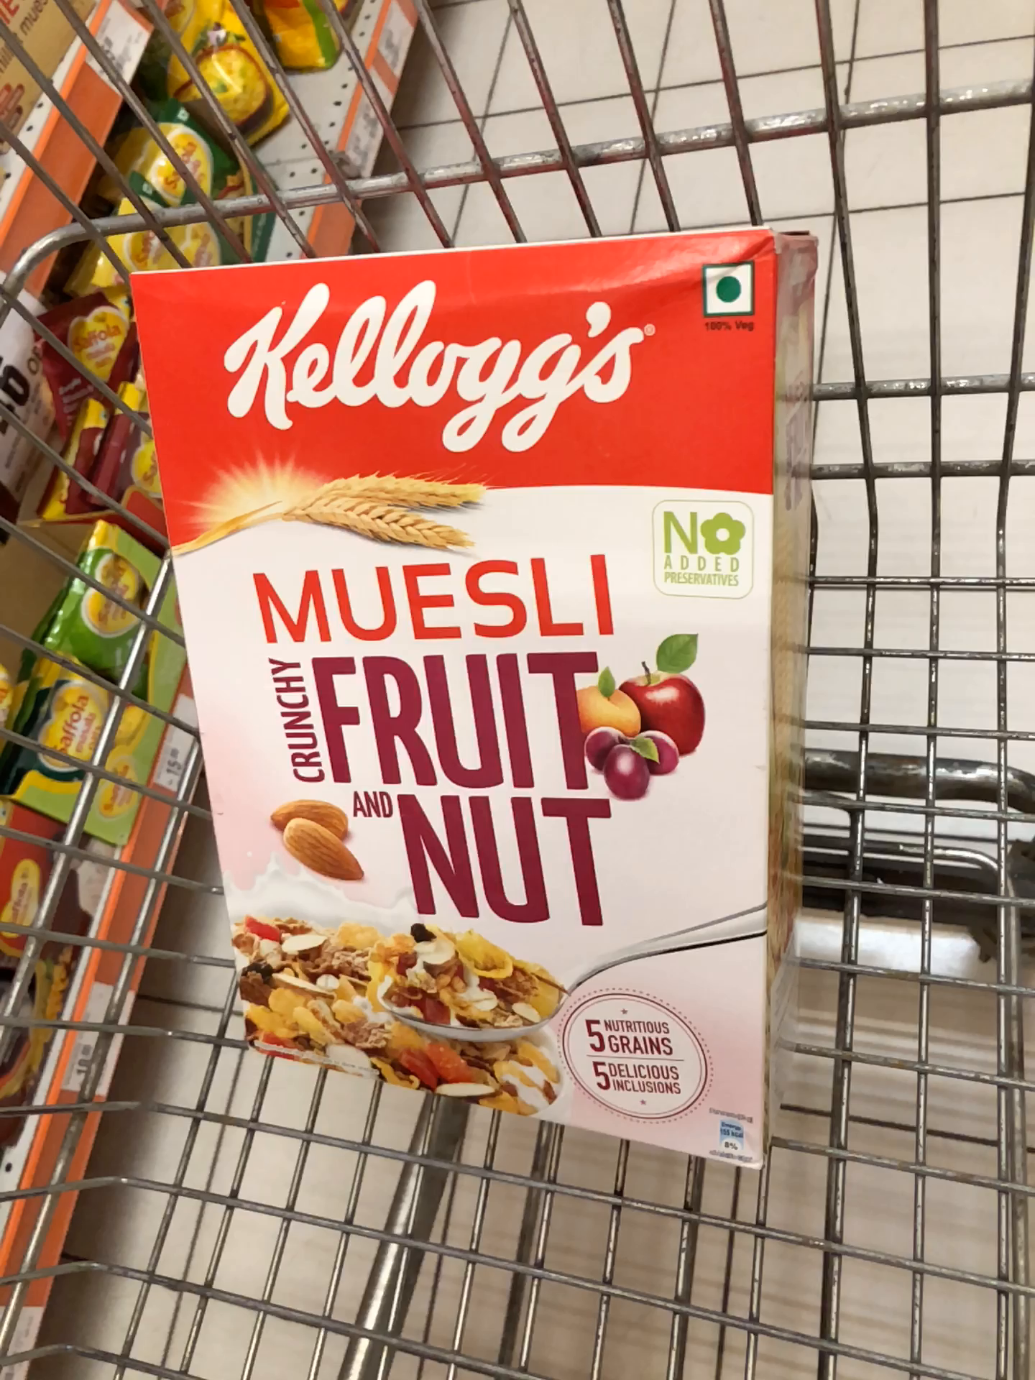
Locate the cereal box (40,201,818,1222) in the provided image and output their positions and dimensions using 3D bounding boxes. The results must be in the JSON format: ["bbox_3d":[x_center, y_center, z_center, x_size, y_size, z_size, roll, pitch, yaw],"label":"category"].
[{"bbox_3d":[-0.017,0.006,0.345,0.190,0.070,0.269,5,113,22],"label":"cereal box"}]
